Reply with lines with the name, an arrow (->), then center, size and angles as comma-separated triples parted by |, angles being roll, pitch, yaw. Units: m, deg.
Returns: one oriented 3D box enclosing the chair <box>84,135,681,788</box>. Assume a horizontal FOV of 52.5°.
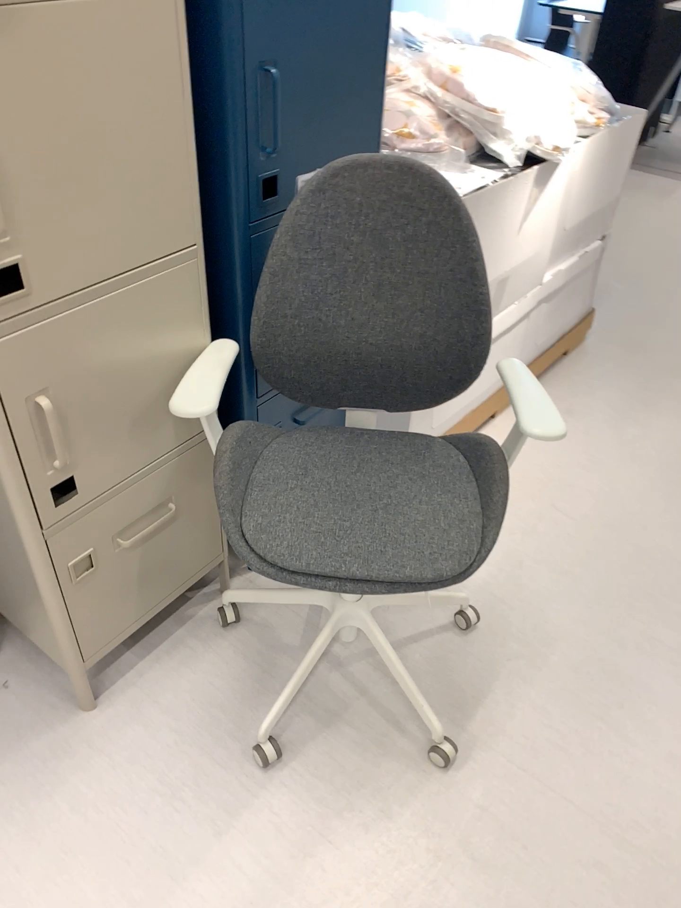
chair -> 0.043, 0.039, 1.306 | 0.650, 0.996, 0.673 | 4, 39, 0
